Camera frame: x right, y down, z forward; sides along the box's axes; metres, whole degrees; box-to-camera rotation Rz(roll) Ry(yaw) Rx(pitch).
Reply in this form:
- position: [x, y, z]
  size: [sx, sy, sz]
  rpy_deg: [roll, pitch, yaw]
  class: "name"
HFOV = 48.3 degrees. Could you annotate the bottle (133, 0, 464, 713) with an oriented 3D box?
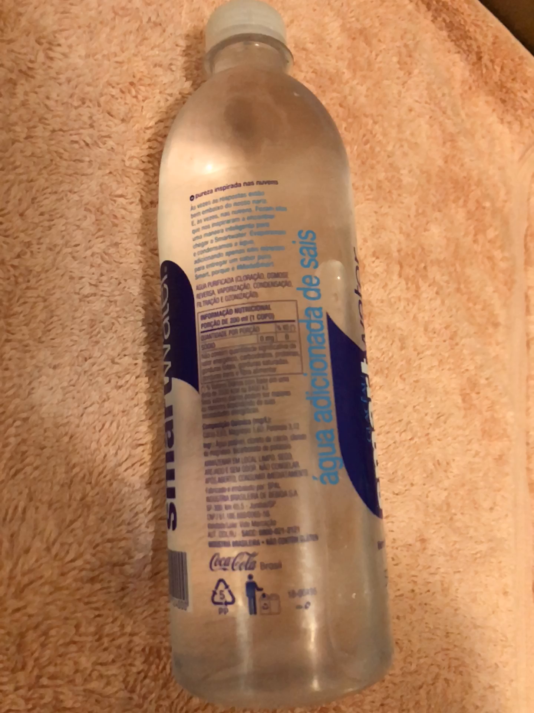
- position: [0.009, -0.011, 0.180]
  size: [0.080, 0.050, 0.230]
  rpy_deg: [6, 79, -48]
  class: "bottle"
